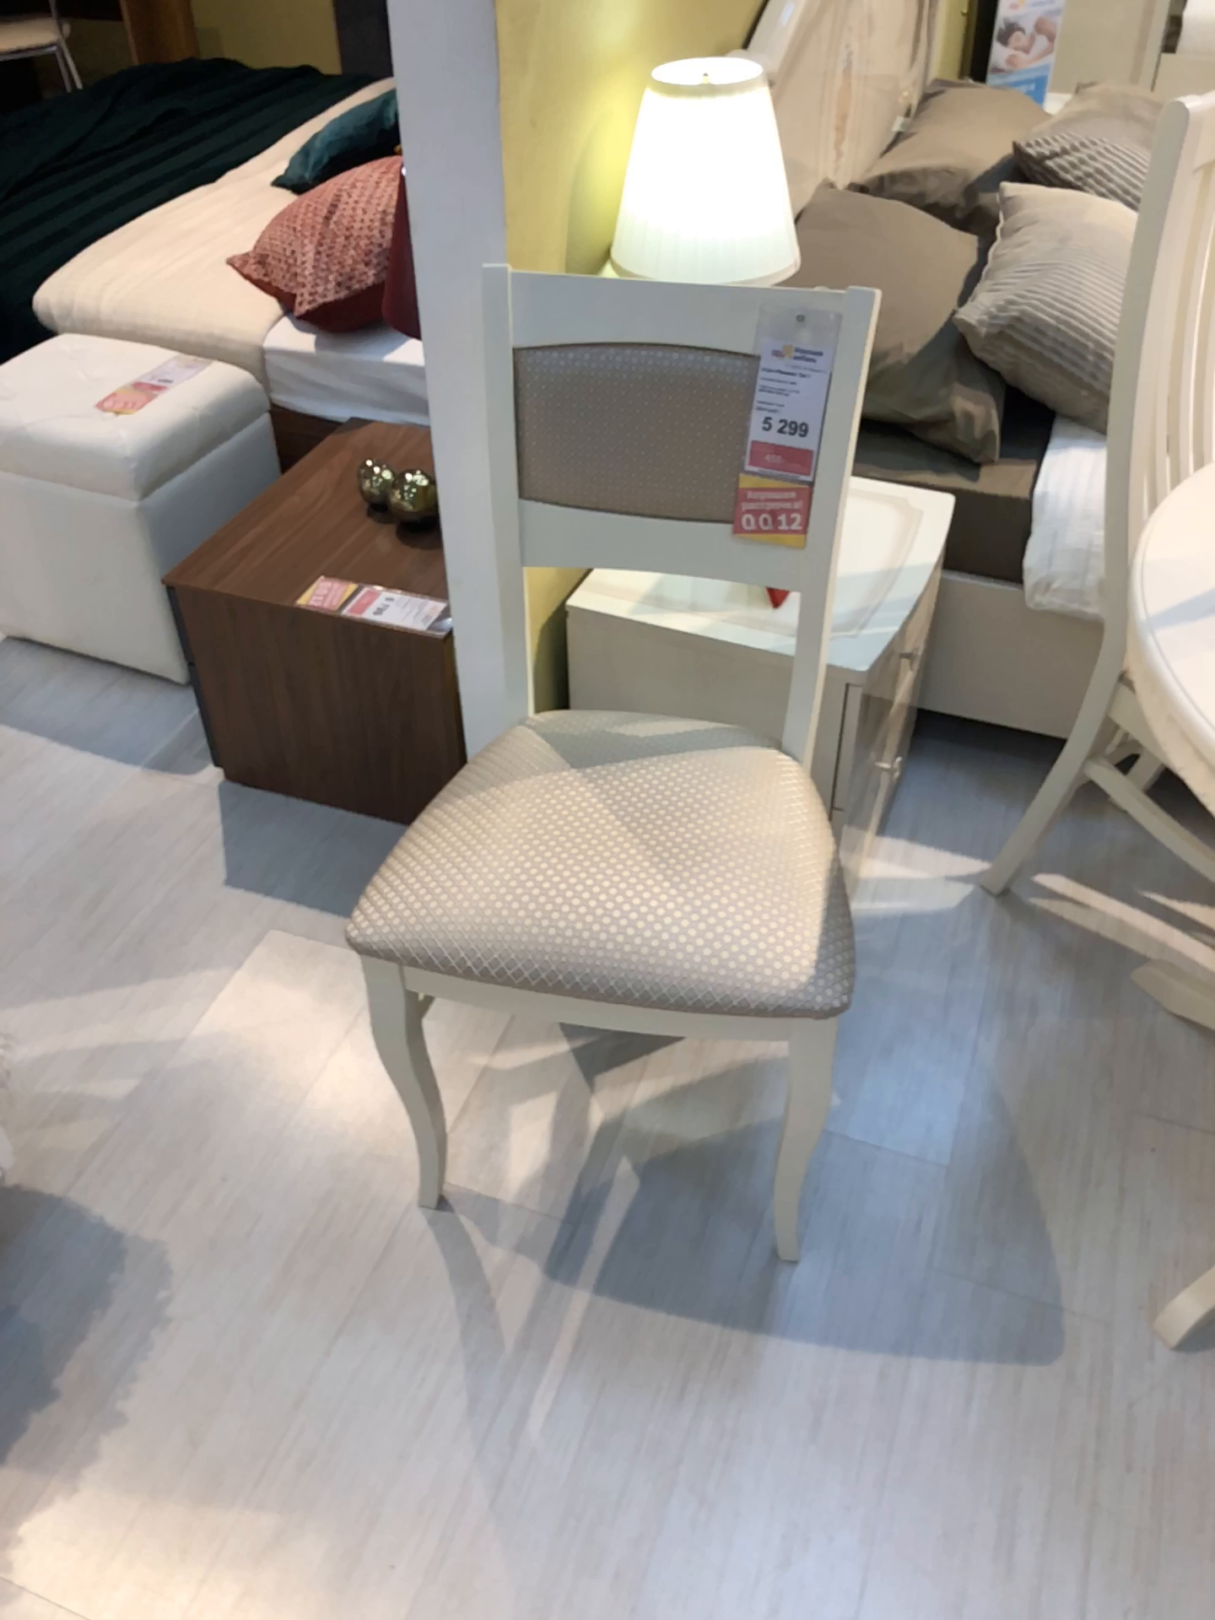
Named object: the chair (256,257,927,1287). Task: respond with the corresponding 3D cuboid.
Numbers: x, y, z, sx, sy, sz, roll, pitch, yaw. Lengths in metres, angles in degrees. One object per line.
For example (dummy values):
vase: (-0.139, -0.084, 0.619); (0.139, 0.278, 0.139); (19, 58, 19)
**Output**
chair: (0.030, -0.003, 1.409); (0.470, 0.946, 0.474); (6, 41, 8)
